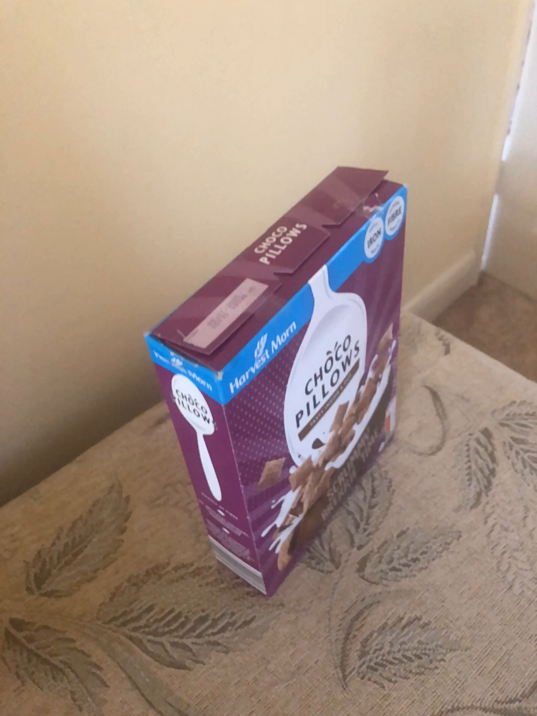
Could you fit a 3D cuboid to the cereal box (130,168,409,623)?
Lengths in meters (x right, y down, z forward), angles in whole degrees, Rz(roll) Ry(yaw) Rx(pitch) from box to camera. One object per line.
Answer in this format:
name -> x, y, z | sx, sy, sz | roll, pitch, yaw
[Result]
cereal box -> 0.021, 0.039, 0.444 | 0.060, 0.278, 0.201 | 23, 52, 26
